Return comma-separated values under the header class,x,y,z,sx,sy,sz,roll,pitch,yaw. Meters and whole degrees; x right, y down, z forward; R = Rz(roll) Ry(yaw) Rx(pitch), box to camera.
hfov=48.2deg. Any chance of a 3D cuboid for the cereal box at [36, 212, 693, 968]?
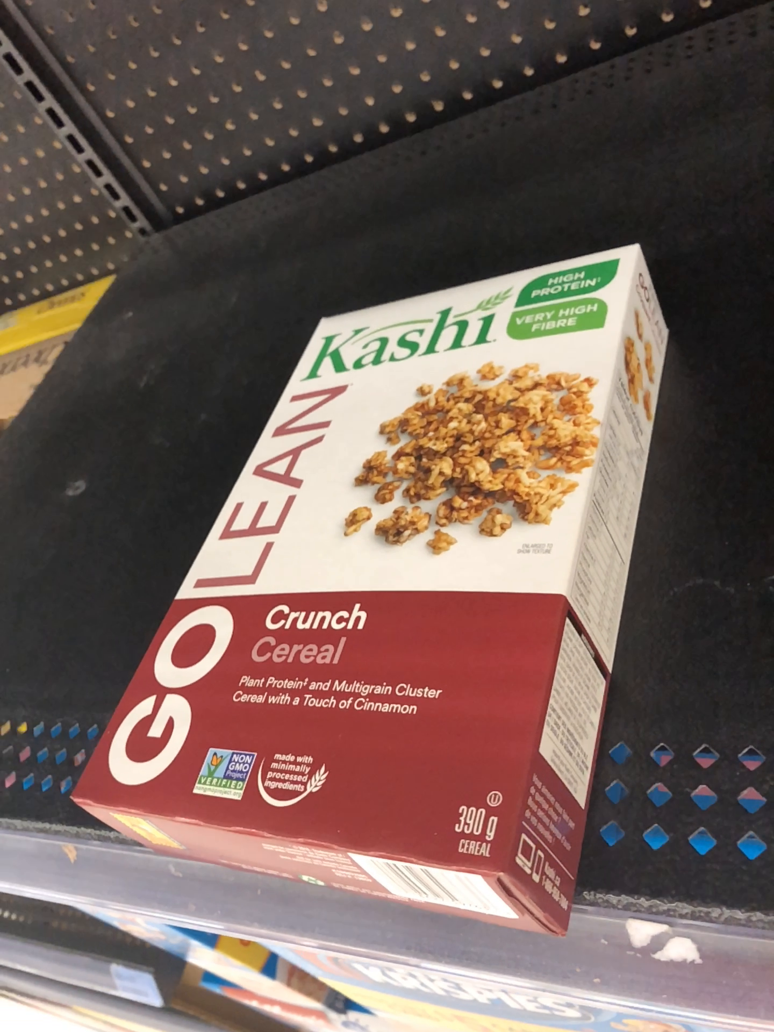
class,x,y,z,sx,sy,sz,roll,pitch,yaw
cereal box,0.012,0.001,0.348,0.180,0.050,0.290,-4,47,31
